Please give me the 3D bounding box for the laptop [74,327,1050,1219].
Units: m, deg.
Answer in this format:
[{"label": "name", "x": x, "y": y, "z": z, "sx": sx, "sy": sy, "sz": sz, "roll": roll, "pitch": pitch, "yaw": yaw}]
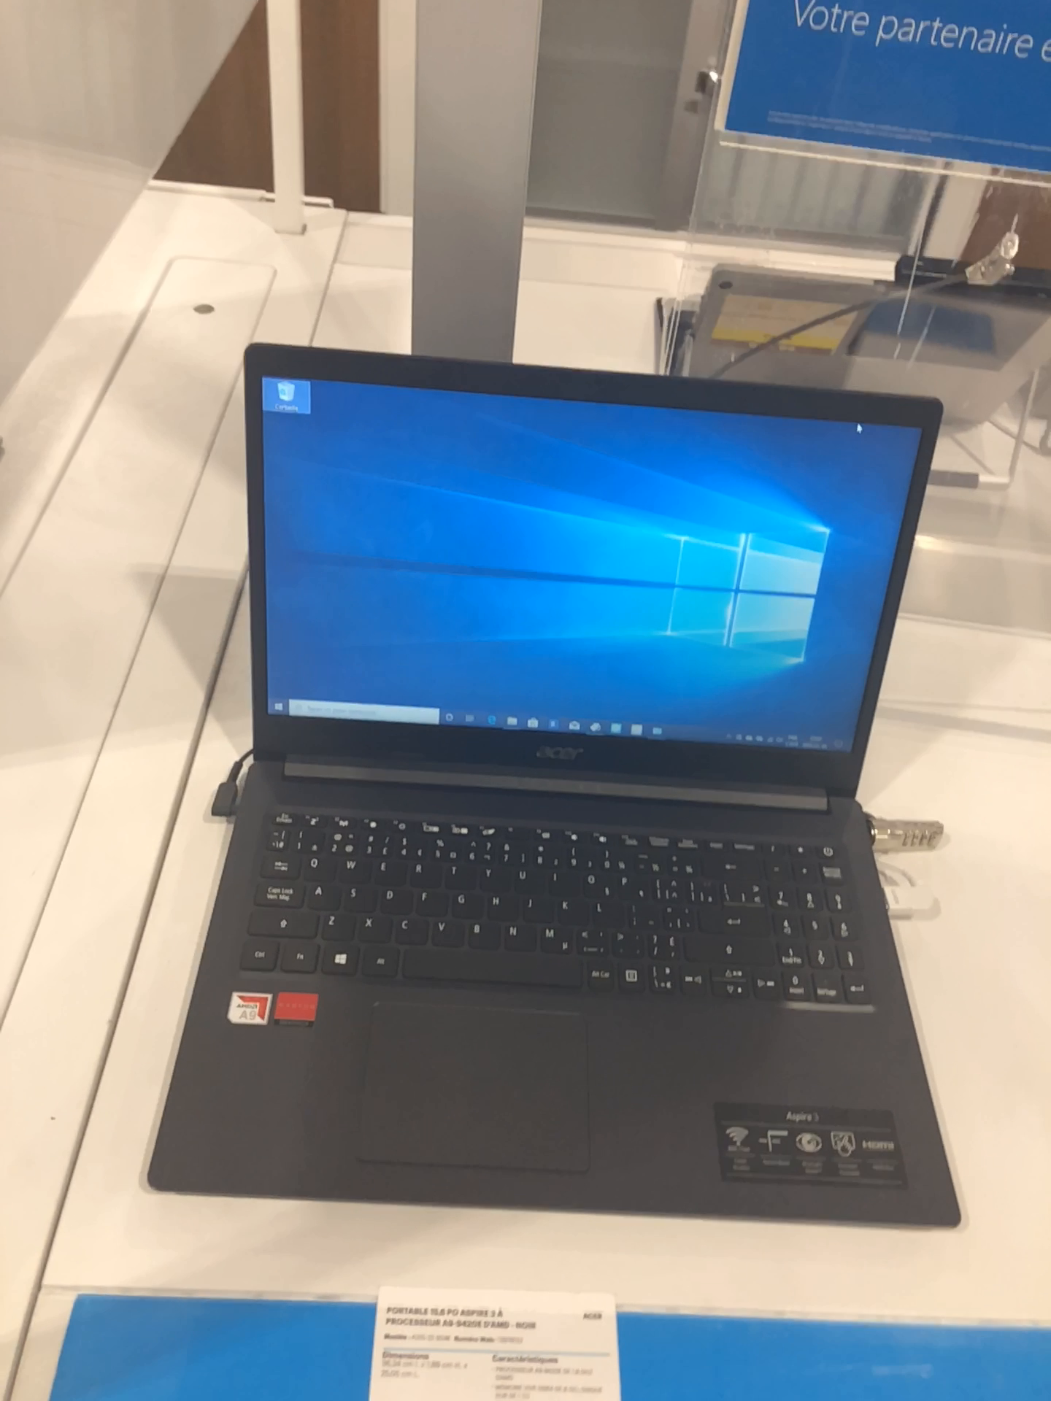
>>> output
[{"label": "laptop", "x": 0.028, "y": 0.022, "z": 0.579, "sx": 0.367, "sy": 0.212, "sz": 0.351, "roll": 4, "pitch": 47, "yaw": -3}]
